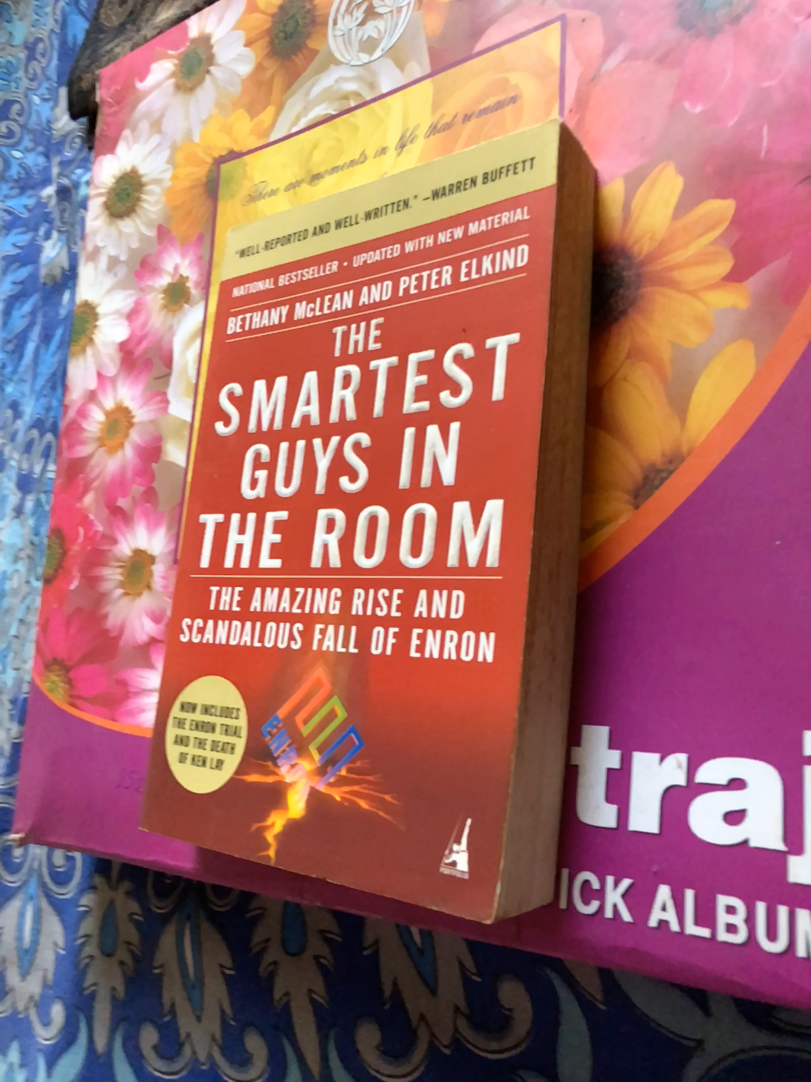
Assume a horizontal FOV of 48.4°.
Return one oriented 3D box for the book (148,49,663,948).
[{"bbox_3d":[-0.005,-0.013,0.280,0.151,0.040,0.220,-2,79,40],"label":"book"}]
